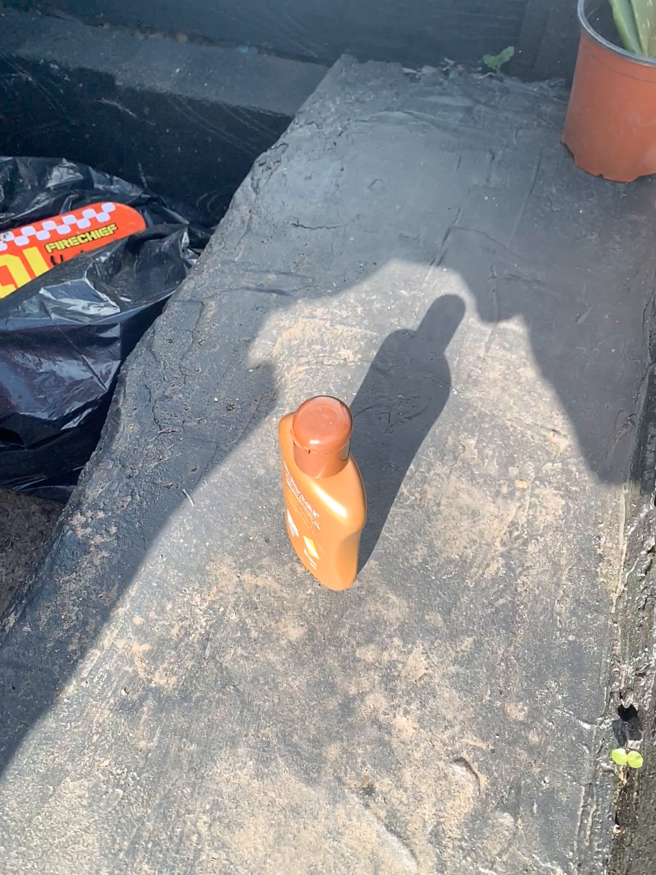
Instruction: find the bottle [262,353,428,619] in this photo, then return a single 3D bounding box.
[{"bbox_3d":[0.004,0.034,0.355,0.040,0.149,0.070,-28,63,-17],"label":"bottle"}]
